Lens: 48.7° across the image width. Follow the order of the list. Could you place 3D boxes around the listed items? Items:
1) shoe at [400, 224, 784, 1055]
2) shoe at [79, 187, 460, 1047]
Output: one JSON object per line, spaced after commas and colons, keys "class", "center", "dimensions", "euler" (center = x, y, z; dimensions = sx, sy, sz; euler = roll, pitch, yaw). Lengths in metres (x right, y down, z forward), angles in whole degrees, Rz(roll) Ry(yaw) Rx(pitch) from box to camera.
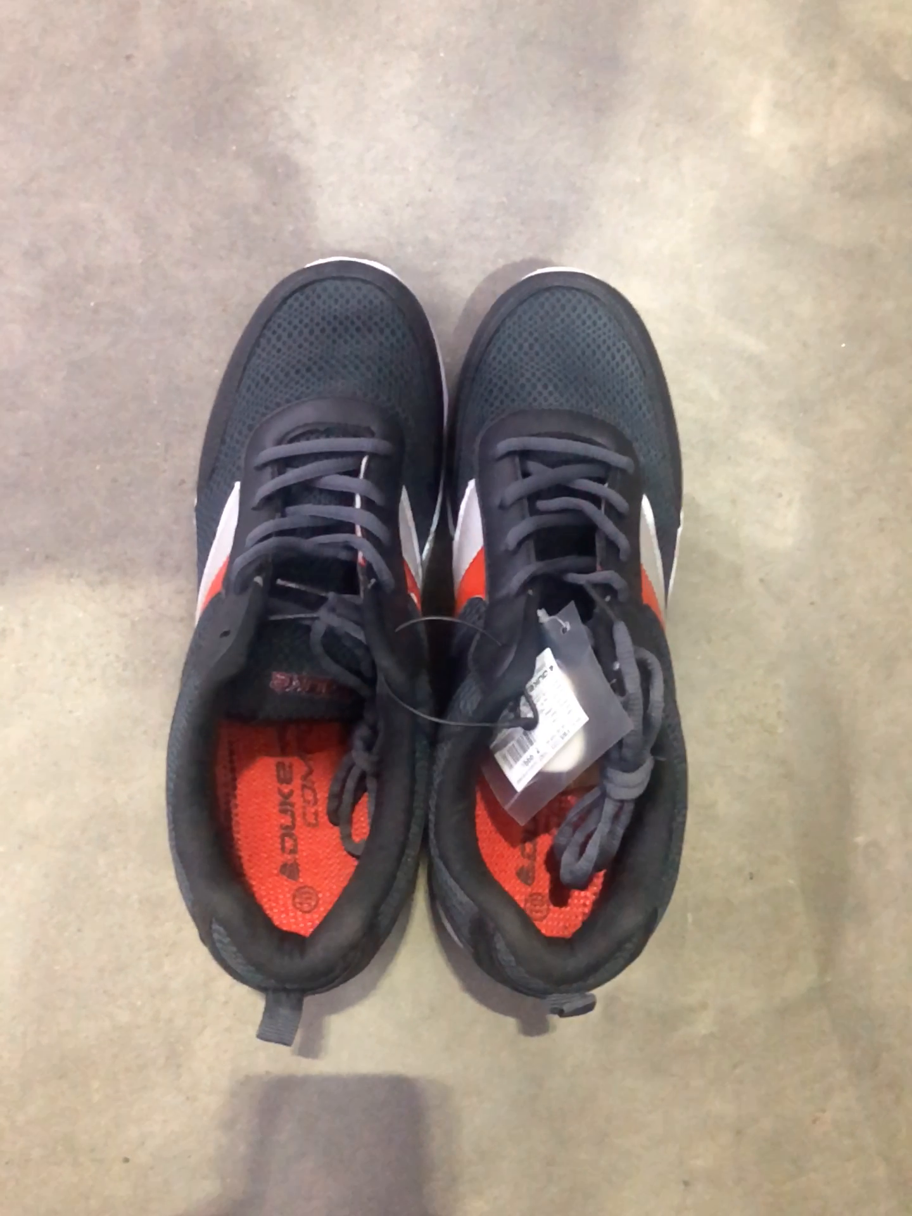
{"class": "shoe", "center": [0.046, 0.011, 0.387], "dimensions": [0.110, 0.100, 0.270], "euler": [5, 85, -4]}
{"class": "shoe", "center": [-0.060, 0.003, 0.369], "dimensions": [0.110, 0.100, 0.270], "euler": [1, 85, -4]}
